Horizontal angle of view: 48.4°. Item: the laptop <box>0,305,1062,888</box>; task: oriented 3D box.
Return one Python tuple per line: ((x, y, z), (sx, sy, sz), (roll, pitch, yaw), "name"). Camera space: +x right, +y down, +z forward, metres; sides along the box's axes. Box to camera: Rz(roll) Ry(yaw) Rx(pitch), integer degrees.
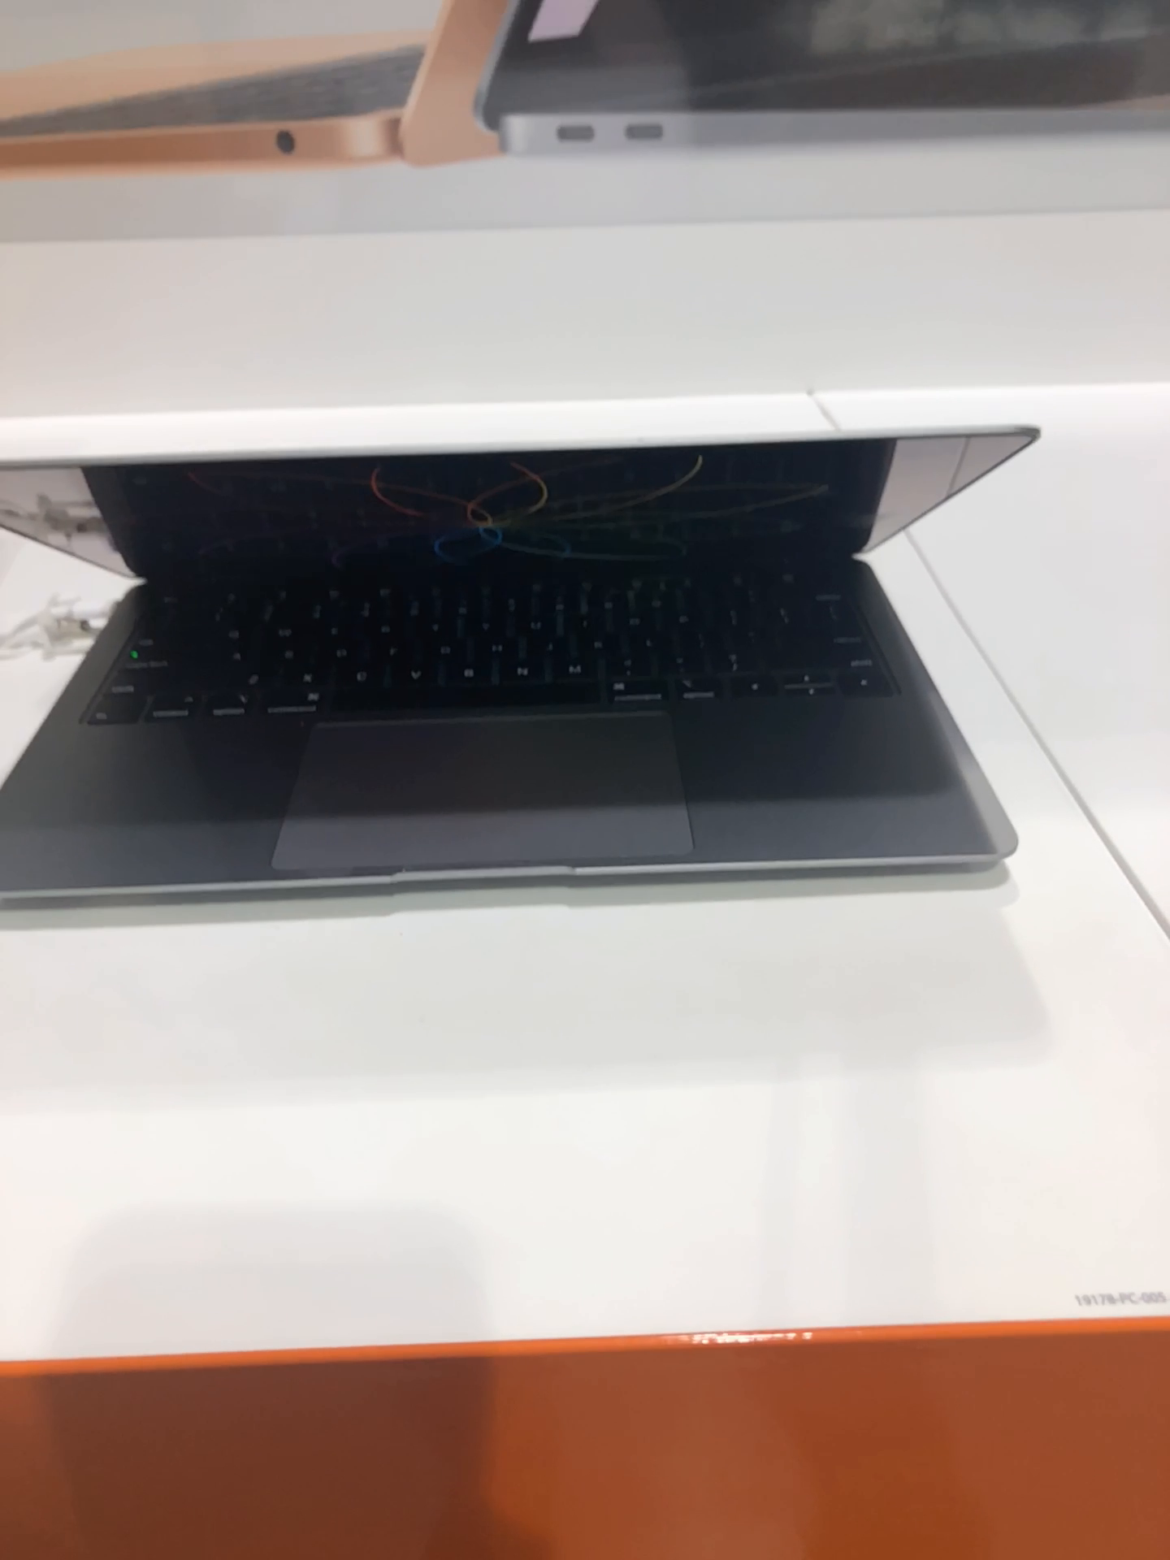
((-0.033, -0.073, 0.415), (0.288, 0.102, 0.200), (-2, 32, -1), "laptop")
